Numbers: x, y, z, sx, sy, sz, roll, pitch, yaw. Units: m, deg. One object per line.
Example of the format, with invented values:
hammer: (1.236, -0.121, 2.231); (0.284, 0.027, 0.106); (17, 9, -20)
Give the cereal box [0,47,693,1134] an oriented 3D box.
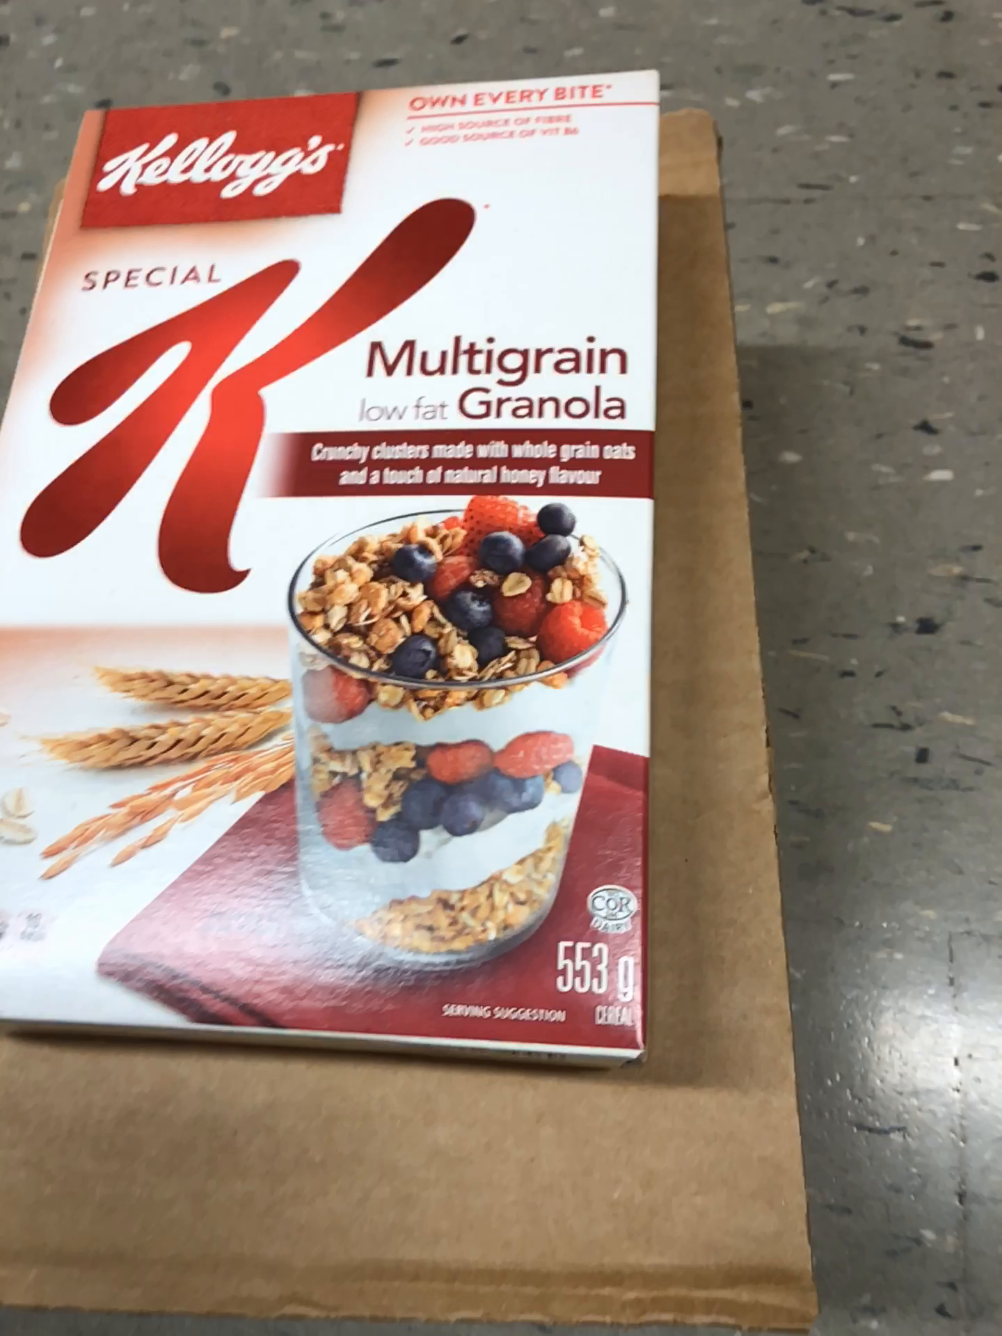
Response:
cereal box: (-0.047, -0.037, 0.280); (0.180, 0.050, 0.270); (3, 66, 2)
